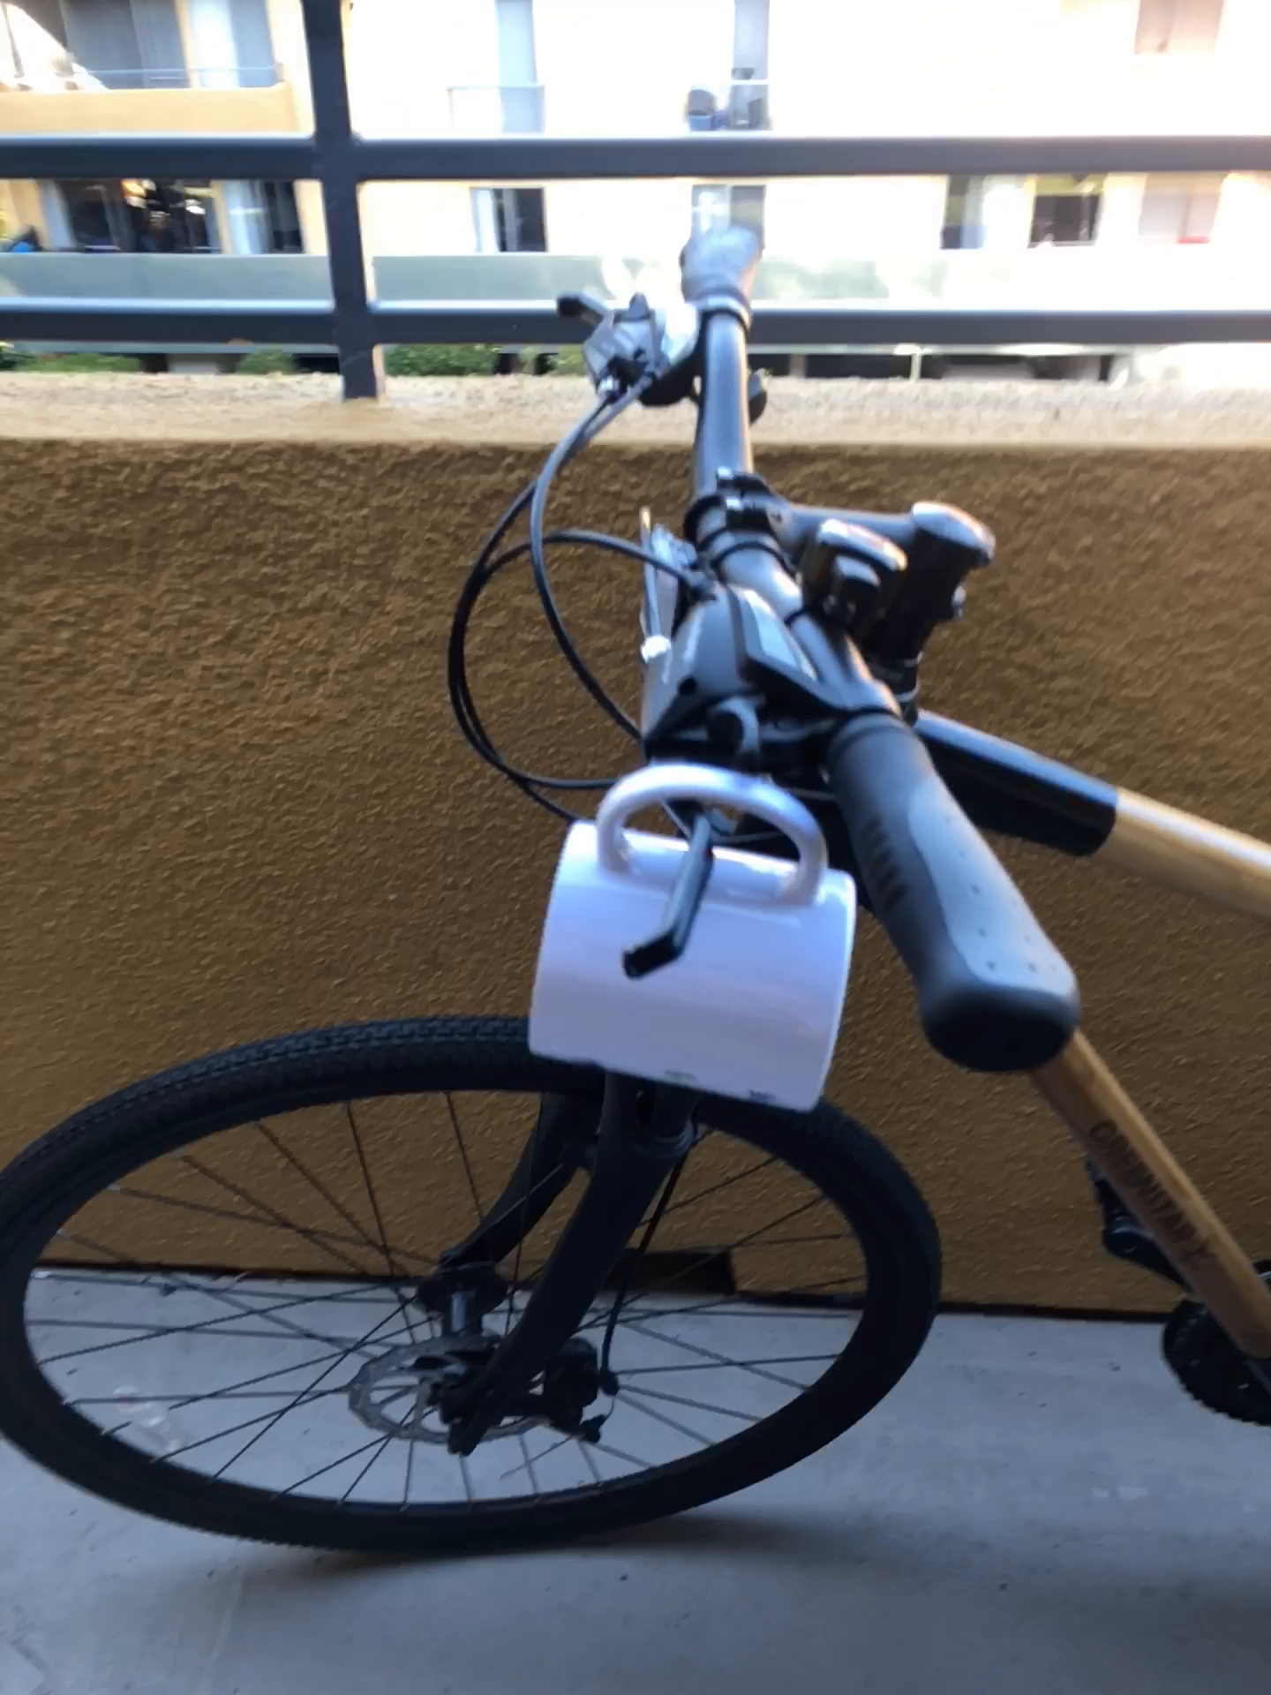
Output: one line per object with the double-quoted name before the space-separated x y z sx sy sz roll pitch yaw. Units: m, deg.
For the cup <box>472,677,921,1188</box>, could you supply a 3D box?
"cup" 0.021 0.027 0.461 0.120 0.119 0.090 10 42 9
